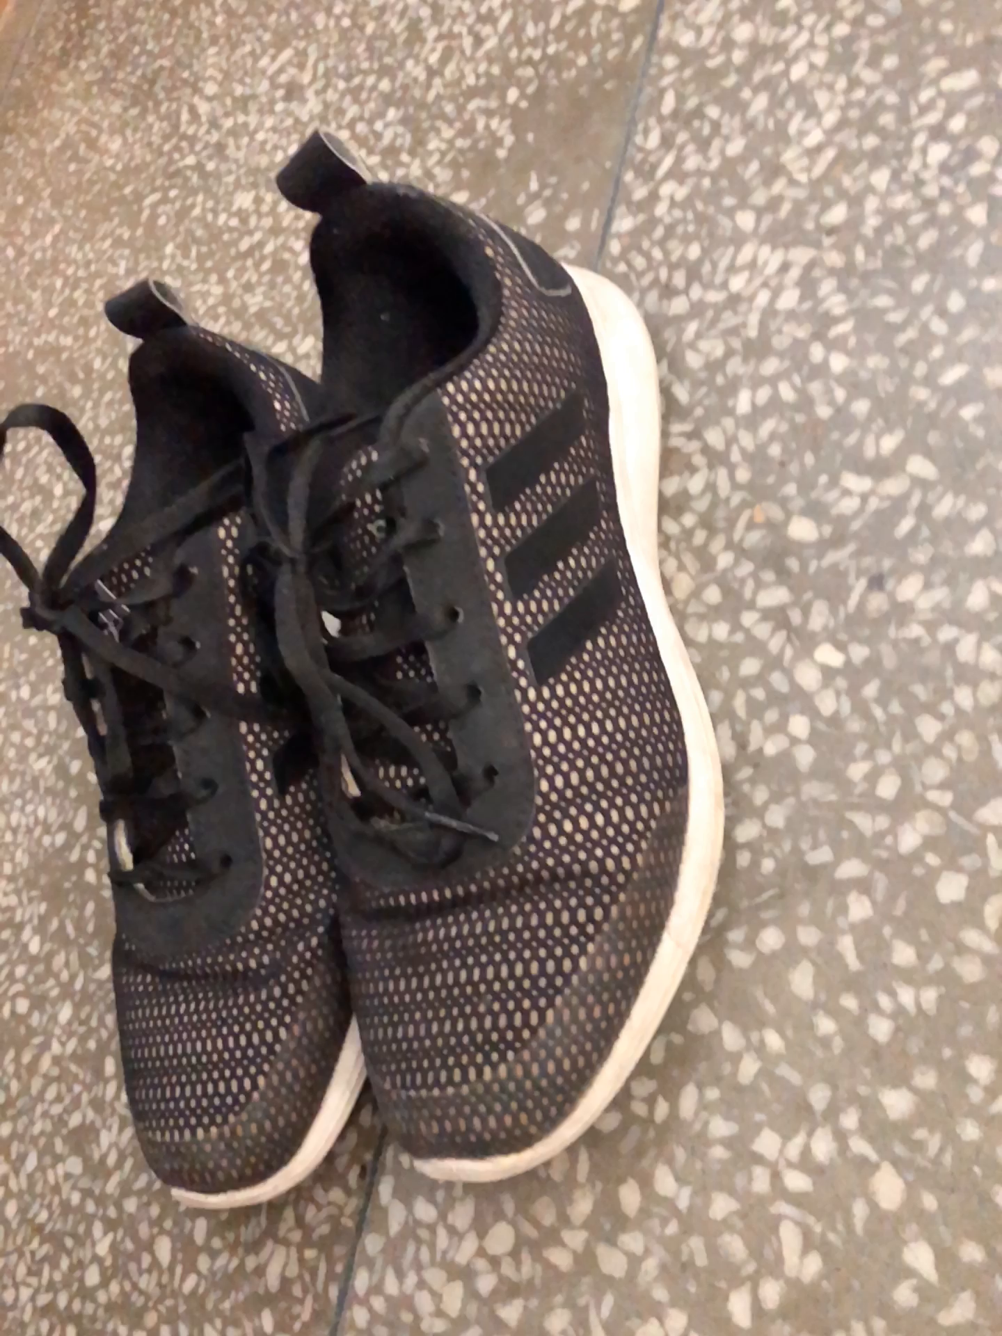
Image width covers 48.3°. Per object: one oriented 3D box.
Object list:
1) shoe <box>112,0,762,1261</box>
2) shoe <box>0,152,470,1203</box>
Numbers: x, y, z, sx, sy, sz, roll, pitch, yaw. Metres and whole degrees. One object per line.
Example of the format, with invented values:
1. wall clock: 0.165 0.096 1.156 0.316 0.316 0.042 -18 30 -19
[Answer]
1. shoe: -0.011 -0.015 0.272 0.101 0.080 0.270 -15 63 32
2. shoe: -0.076 0.001 0.330 0.101 0.080 0.280 -17 62 31
